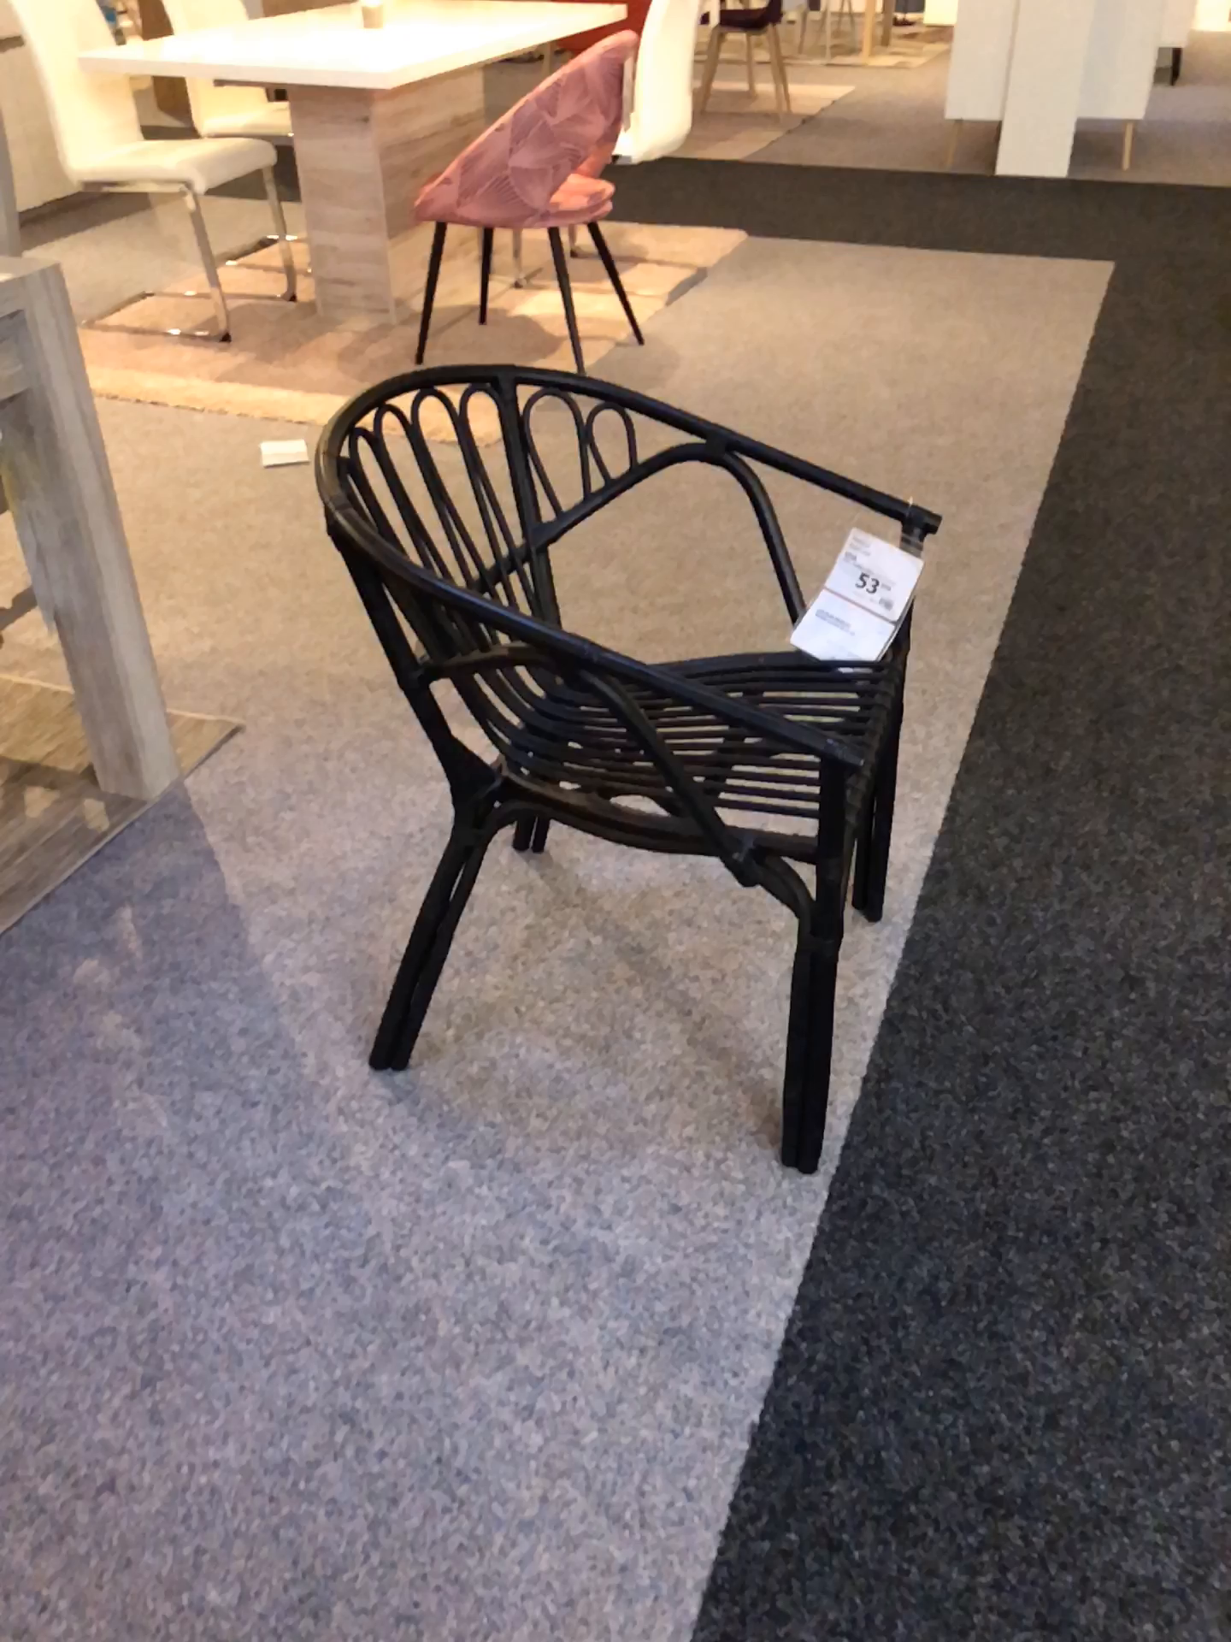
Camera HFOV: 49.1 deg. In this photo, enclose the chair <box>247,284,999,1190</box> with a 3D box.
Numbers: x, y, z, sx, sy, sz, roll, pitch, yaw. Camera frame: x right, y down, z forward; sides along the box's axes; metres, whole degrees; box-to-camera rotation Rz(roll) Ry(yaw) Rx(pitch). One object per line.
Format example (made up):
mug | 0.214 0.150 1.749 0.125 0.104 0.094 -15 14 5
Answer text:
chair | 0.046 -0.117 1.470 0.560 0.736 0.534 11 36 16
